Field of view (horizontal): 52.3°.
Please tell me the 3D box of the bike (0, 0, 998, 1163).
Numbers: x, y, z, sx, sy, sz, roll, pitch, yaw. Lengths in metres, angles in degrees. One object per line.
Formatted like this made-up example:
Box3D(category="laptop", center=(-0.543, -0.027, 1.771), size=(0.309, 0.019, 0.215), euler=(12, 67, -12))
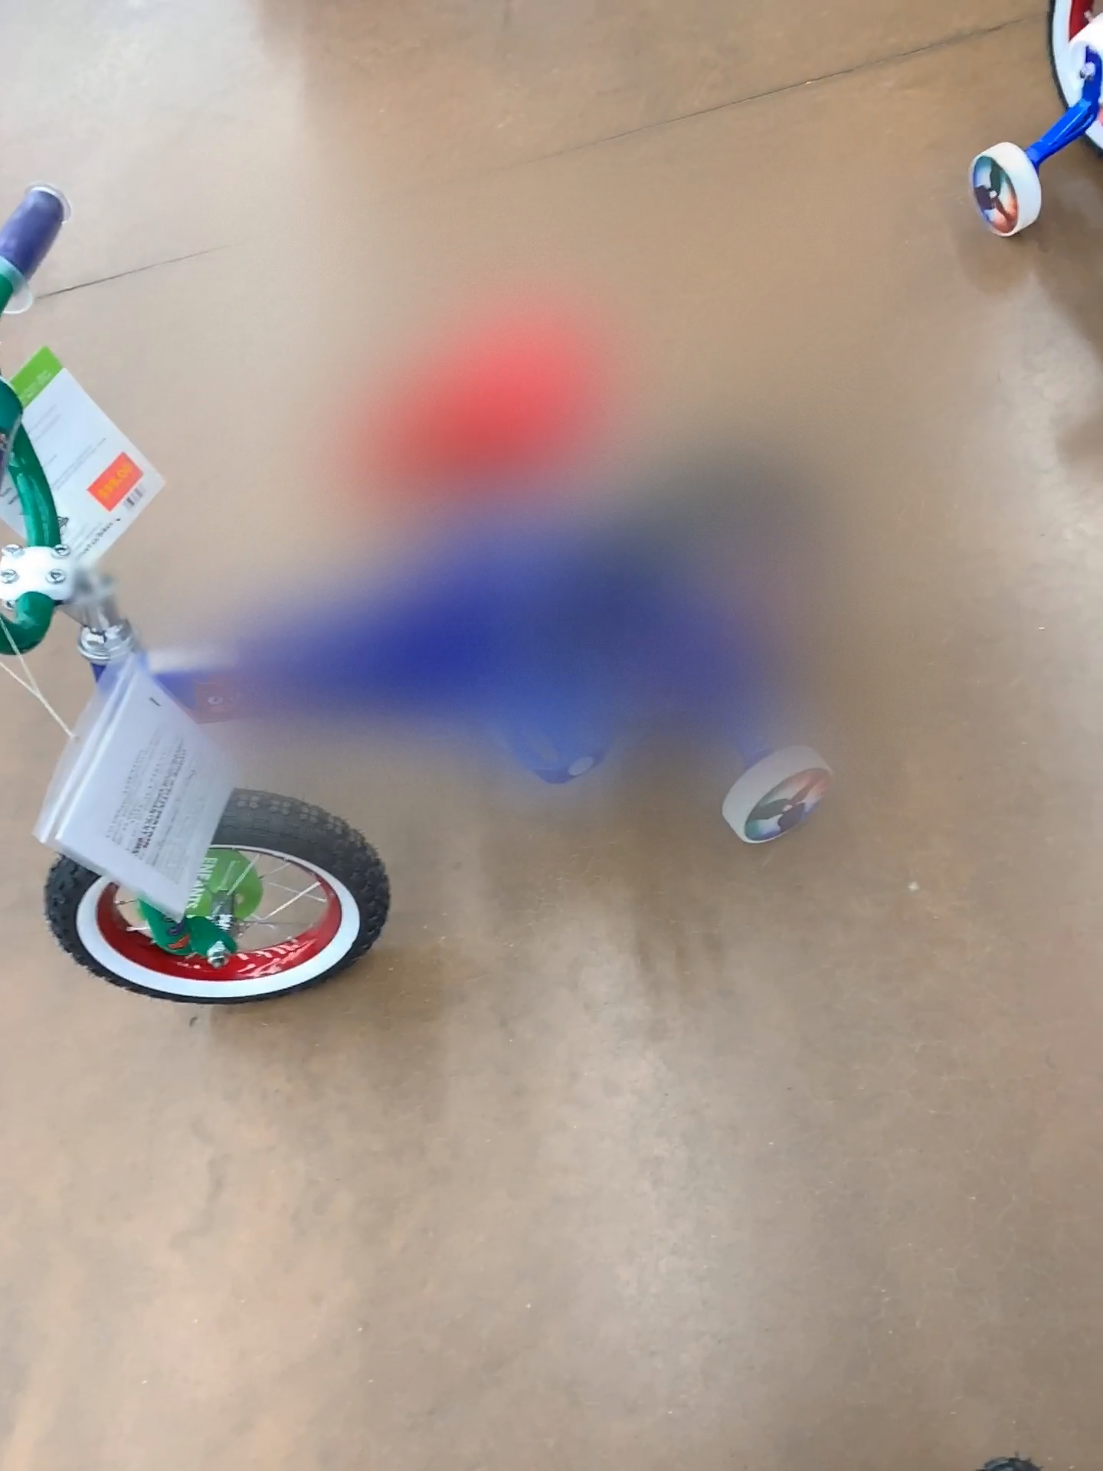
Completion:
Box3D(category="bike", center=(-0.158, -0.122, 0.908), size=(0.774, 0.670, 0.461), euler=(-30, 56, -4))
